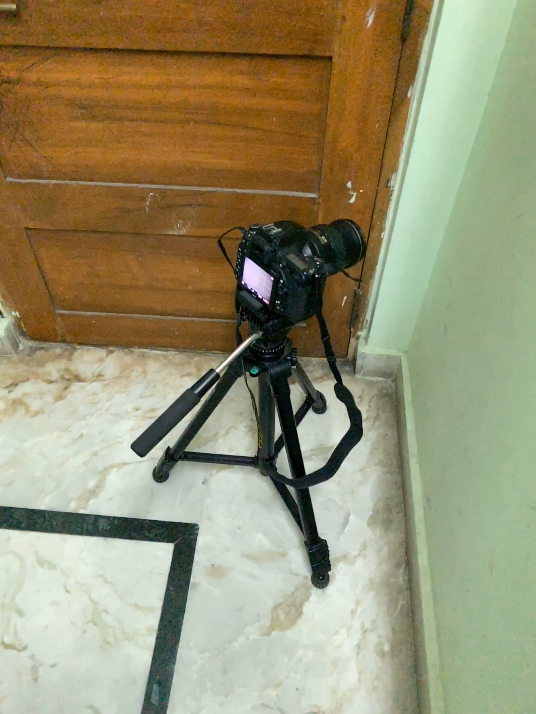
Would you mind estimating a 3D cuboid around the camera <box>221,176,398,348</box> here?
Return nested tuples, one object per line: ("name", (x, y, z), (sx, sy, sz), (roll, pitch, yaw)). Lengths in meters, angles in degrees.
("camera", (0.059, -0.152, 0.840), (0.189, 0.128, 0.175), (-34, 57, -27))
